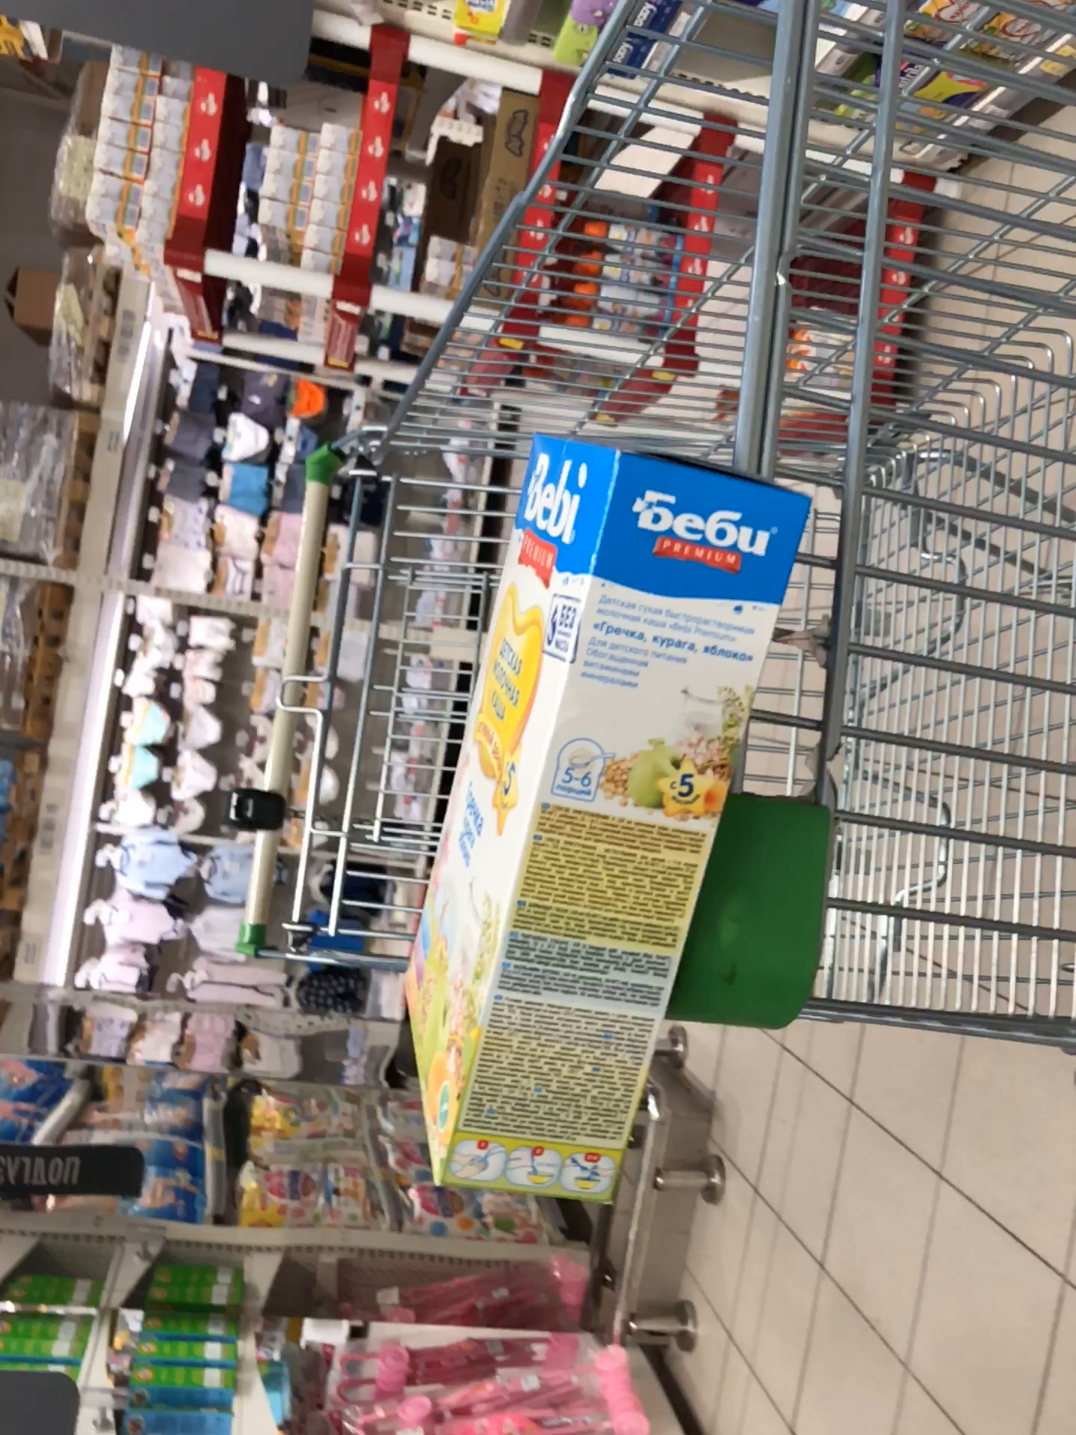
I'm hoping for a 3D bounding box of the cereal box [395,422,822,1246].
[{"bbox_3d":[0.006,0.022,0.363,0.140,0.050,0.210,-121,44,-72],"label":"cereal box"}]
